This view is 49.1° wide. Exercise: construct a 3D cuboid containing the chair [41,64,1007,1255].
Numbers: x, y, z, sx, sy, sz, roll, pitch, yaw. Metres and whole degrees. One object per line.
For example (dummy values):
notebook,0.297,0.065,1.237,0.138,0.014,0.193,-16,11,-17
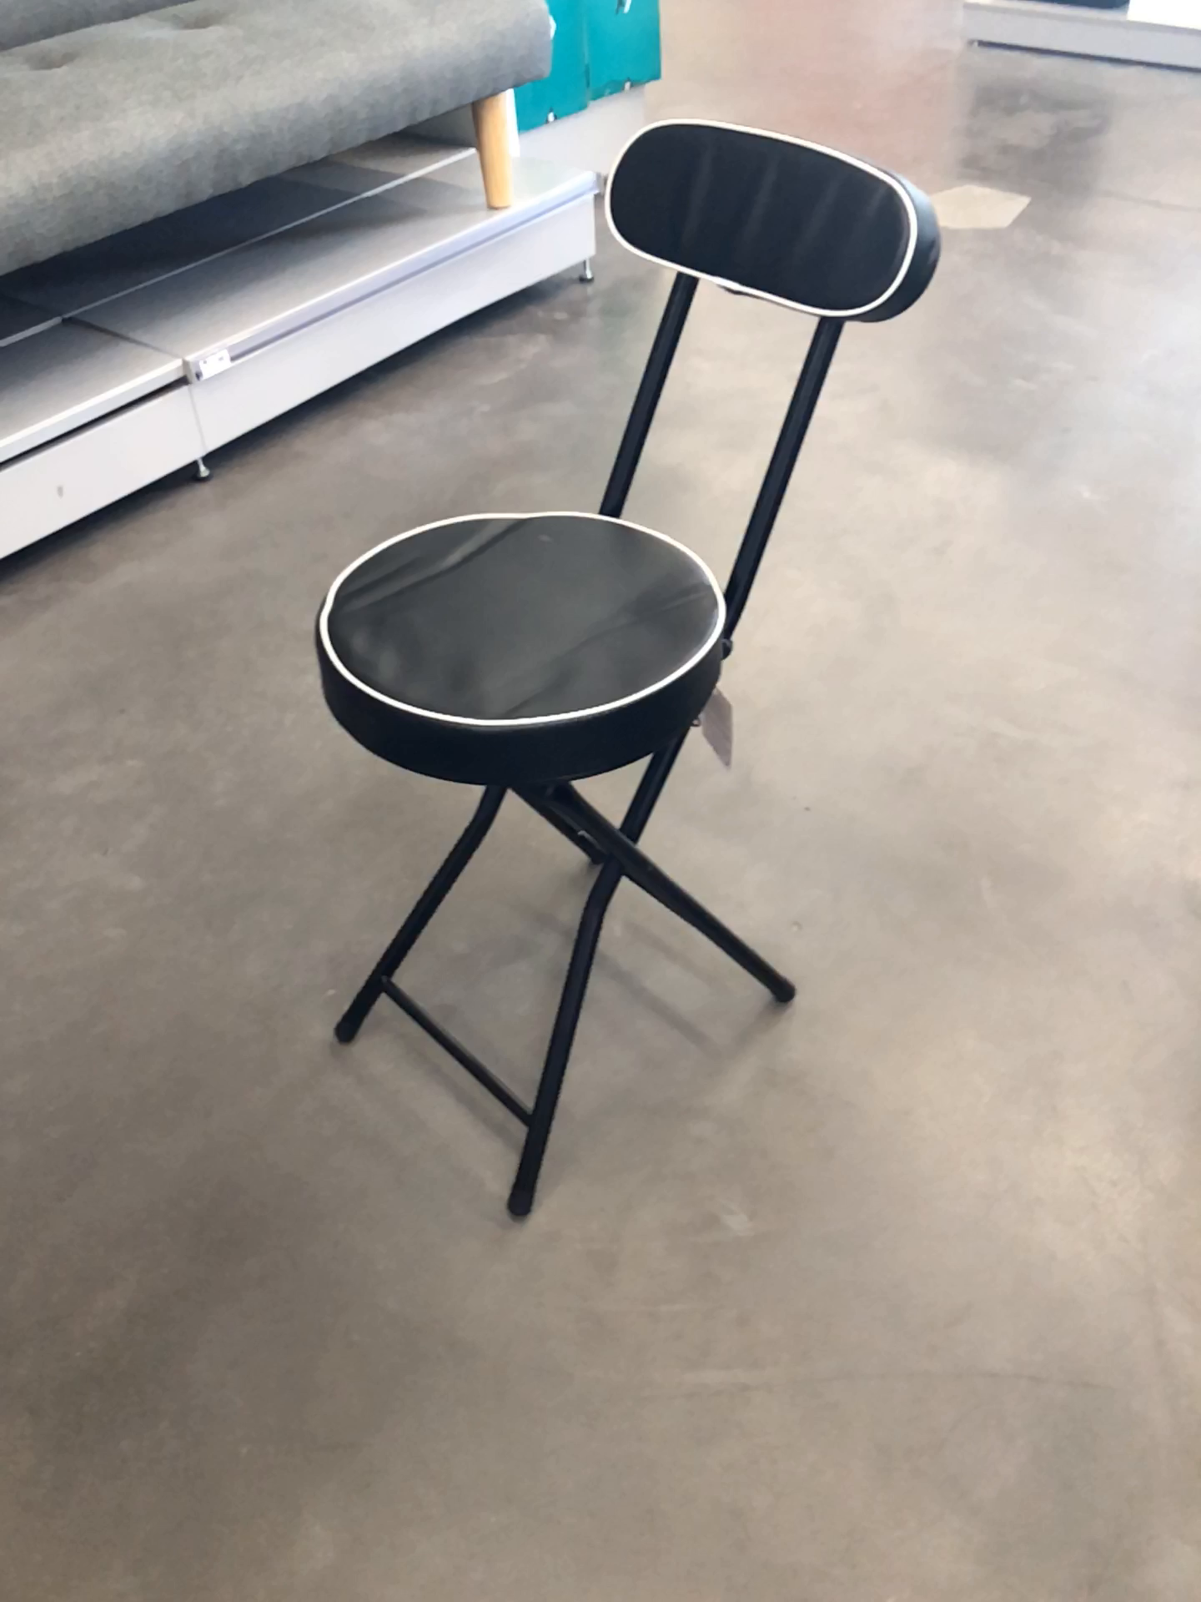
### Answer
chair,-0.017,-0.104,1.076,0.512,0.756,0.340,-33,49,-28
